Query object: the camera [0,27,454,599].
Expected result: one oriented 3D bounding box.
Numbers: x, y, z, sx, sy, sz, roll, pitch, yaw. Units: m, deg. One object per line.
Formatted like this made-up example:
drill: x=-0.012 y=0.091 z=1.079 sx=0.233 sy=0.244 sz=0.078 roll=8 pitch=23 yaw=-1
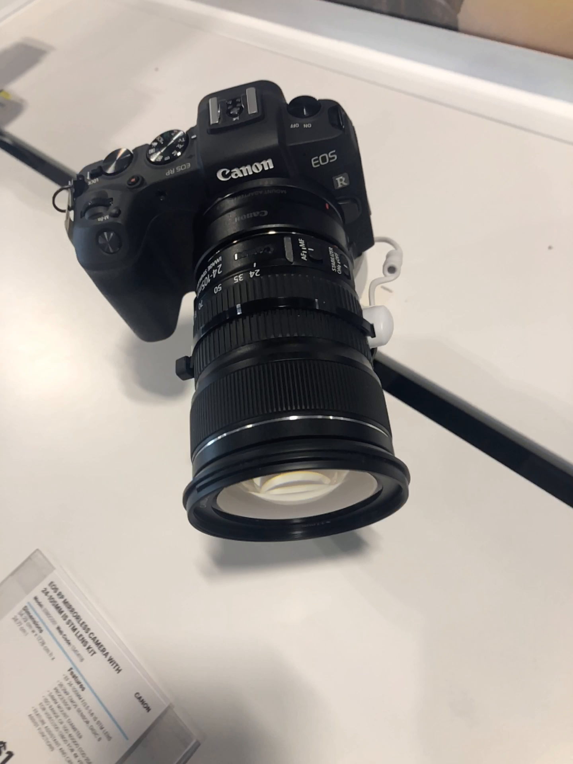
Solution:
camera: x=-0.026 y=-0.031 z=0.258 sx=0.136 sy=0.090 sz=0.191 roll=-13 pitch=56 yaw=7
